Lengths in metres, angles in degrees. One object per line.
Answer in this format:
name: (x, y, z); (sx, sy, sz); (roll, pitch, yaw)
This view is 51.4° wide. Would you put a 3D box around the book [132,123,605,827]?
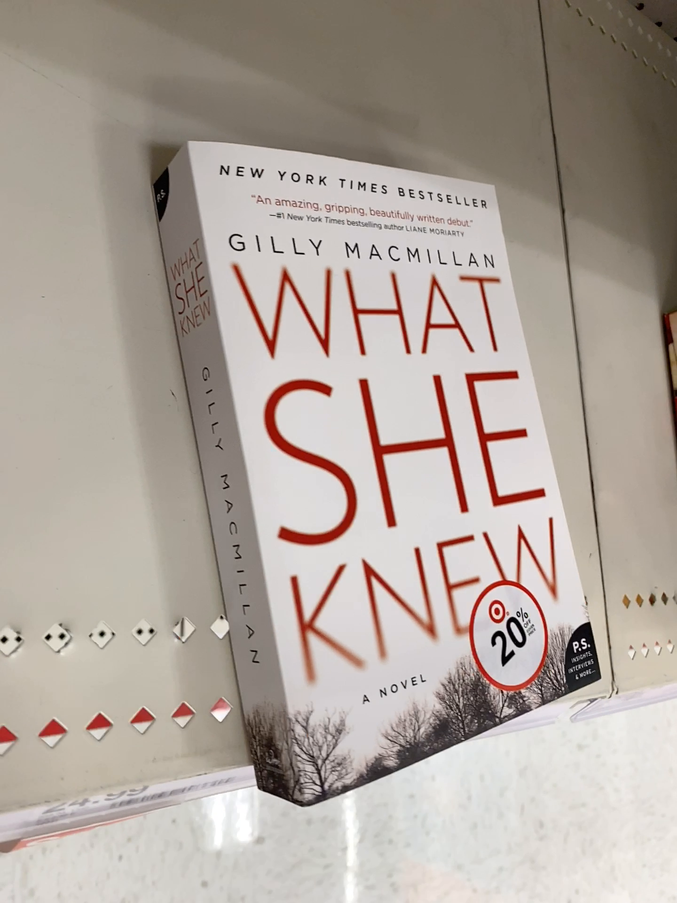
book: (0.014, -0.001, 0.247); (0.131, 0.041, 0.197); (-7, 83, -34)
